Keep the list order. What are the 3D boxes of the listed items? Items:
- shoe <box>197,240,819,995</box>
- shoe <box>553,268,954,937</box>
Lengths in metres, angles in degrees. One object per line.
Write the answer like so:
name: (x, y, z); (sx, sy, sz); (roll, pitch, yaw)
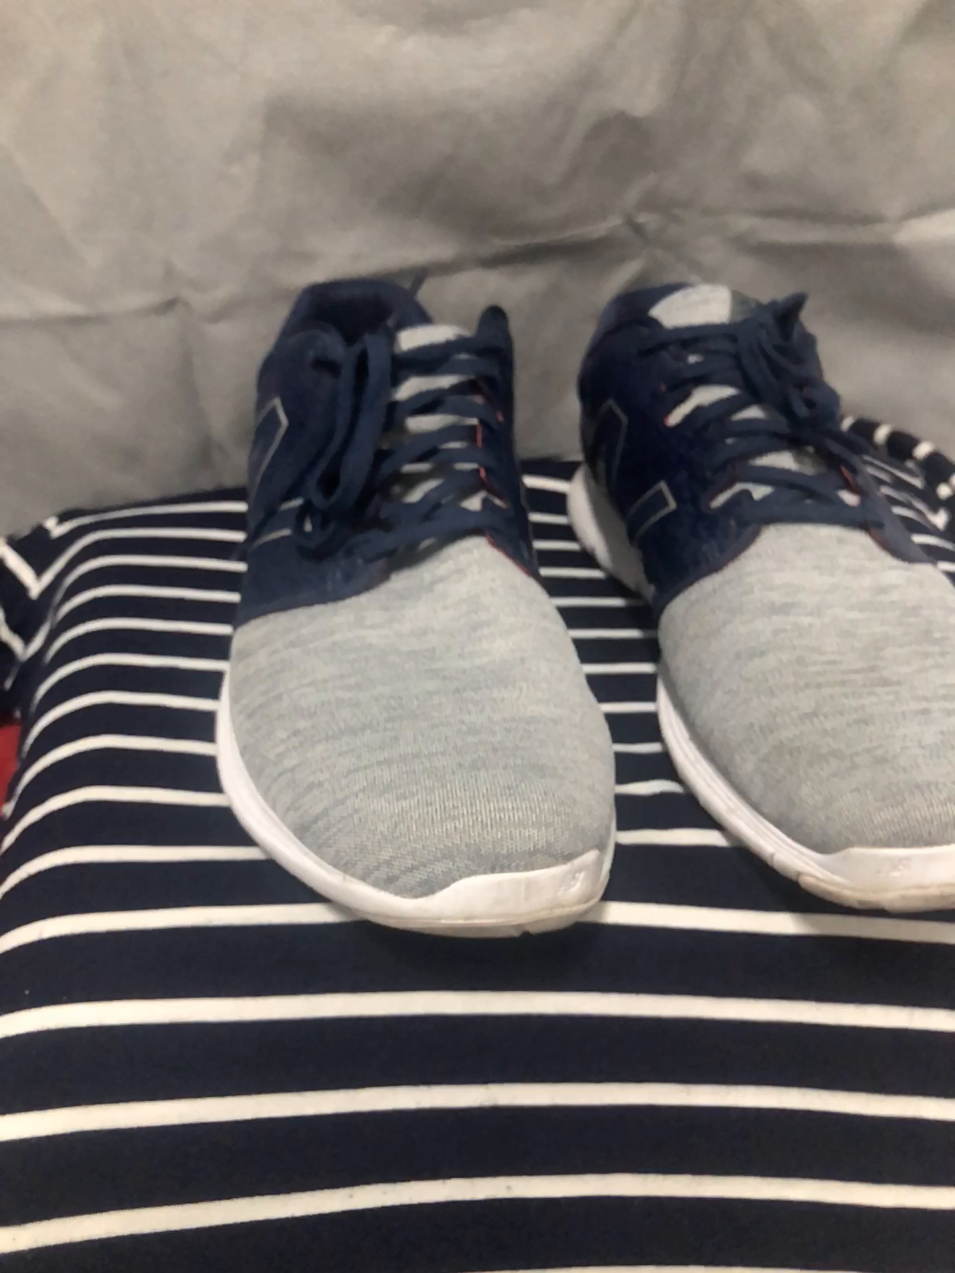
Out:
shoe: (-0.015, -0.048, 0.361); (0.120, 0.089, 0.323); (-5, 33, -7)
shoe: (0.111, -0.041, 0.339); (0.120, 0.079, 0.262); (-5, 33, -7)
